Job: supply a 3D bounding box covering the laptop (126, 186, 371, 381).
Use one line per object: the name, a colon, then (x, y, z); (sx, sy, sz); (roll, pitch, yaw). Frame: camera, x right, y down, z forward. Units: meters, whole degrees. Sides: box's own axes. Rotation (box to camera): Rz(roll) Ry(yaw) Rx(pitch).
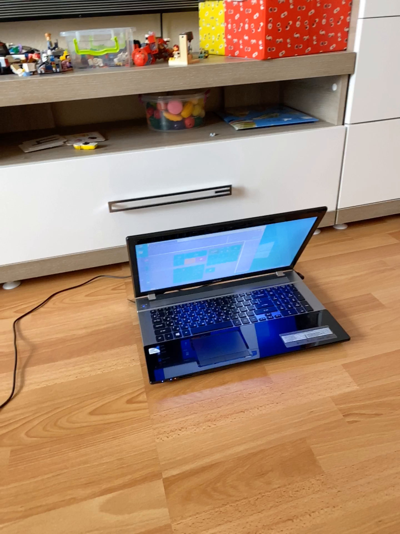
laptop: (0.075, 0.012, 0.848); (0.412, 0.233, 0.270); (-9, 30, -10)
